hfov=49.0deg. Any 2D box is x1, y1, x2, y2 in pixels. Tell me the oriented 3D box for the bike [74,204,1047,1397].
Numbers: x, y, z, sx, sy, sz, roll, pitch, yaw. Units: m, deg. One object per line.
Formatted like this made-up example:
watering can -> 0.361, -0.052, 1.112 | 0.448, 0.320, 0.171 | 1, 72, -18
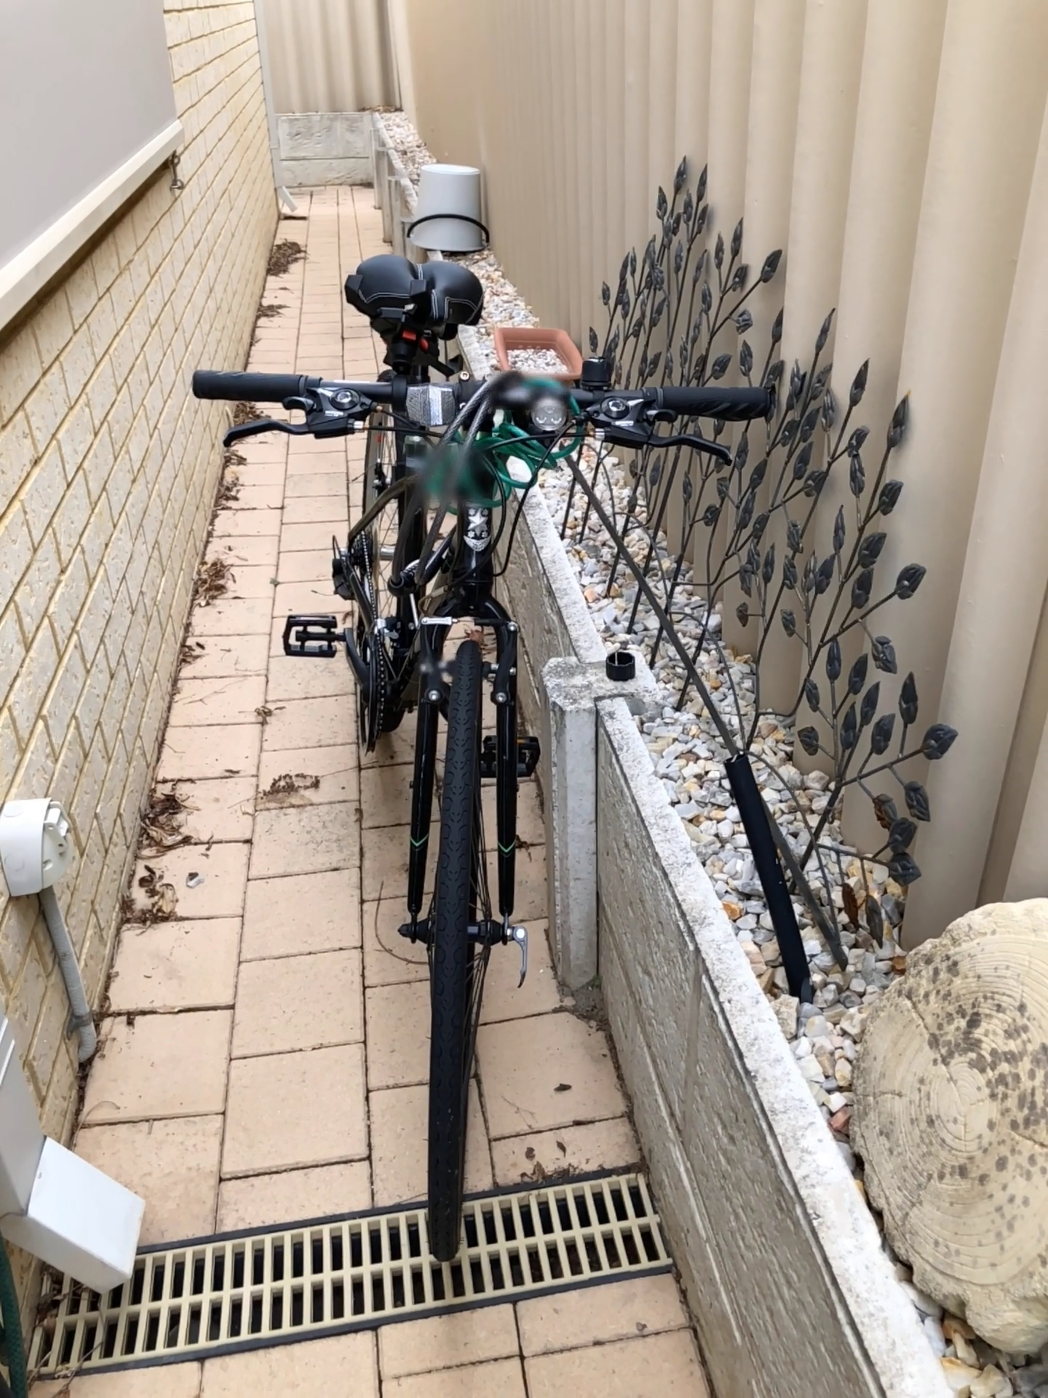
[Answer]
bike -> -0.086, -0.135, 1.686 | 0.638, 0.859, 1.708 | -5, 31, -7
